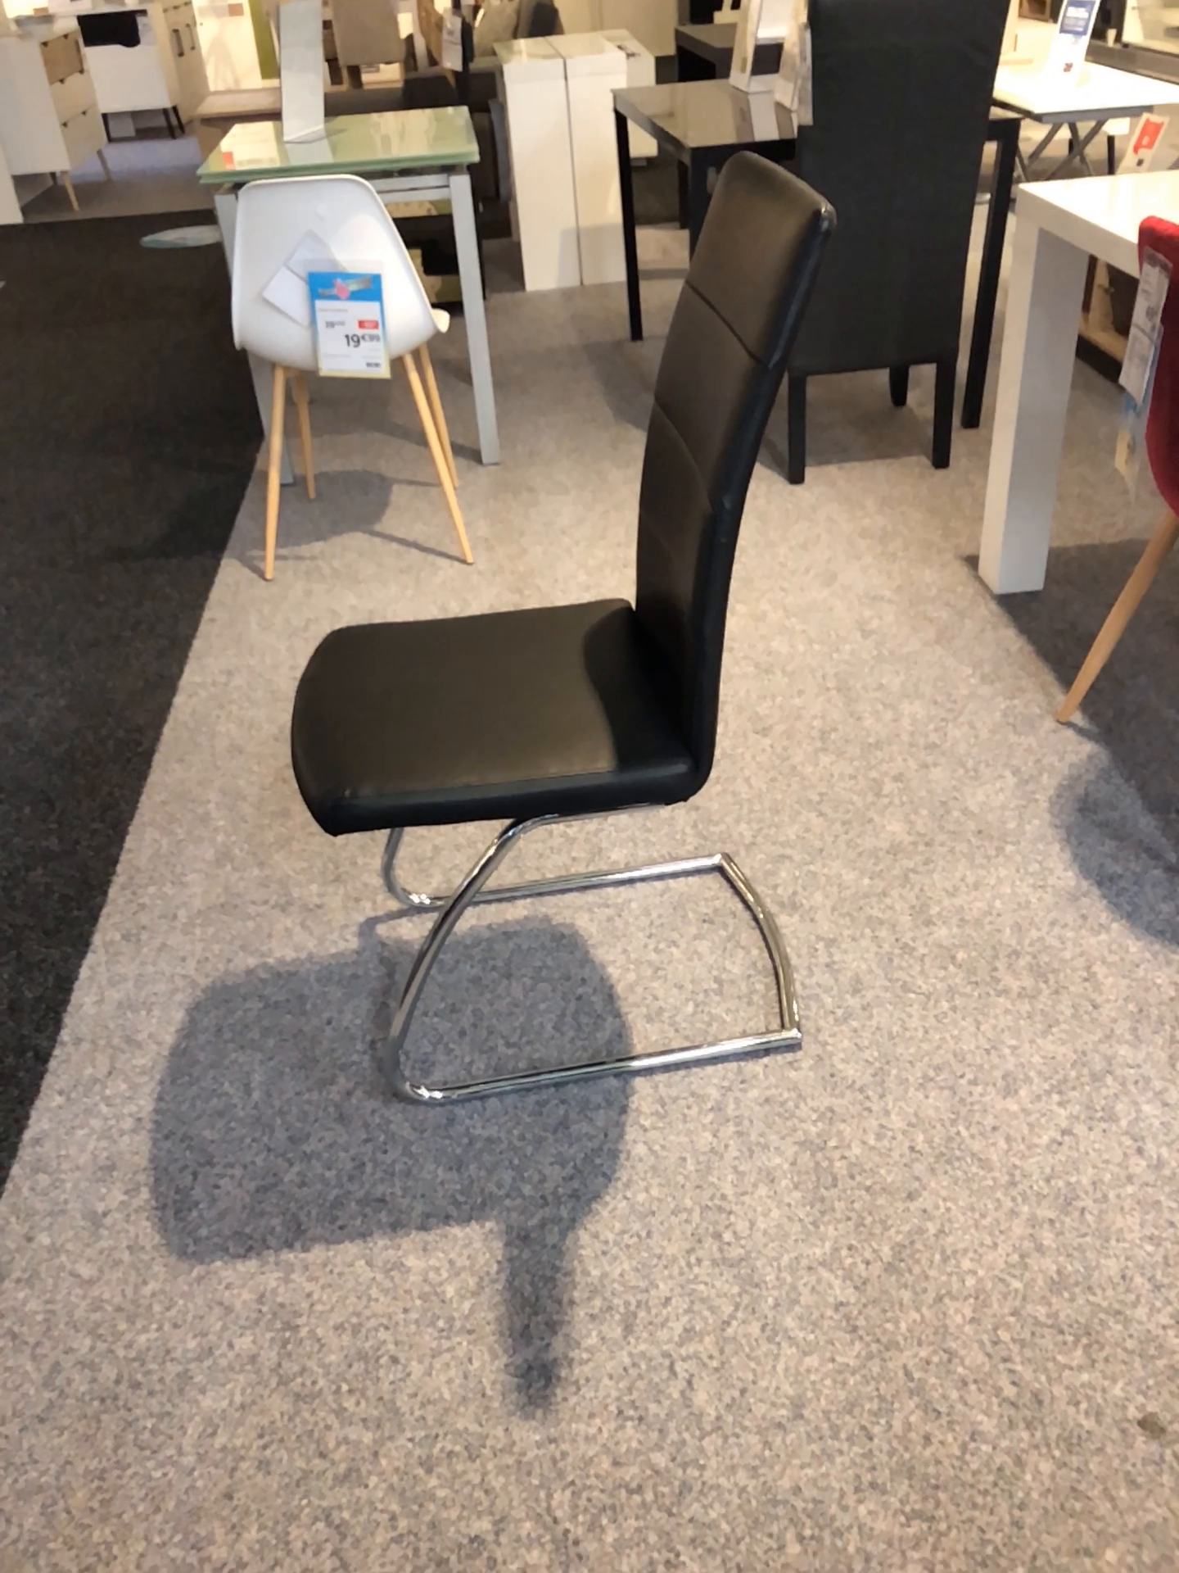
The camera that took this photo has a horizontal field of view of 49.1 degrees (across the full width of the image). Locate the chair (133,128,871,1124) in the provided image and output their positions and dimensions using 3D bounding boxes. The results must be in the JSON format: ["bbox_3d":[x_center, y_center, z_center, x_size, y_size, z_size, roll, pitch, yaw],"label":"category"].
[{"bbox_3d":[-0.062,-0.169,1.427,0.560,0.905,0.493,-8,33,-4],"label":"chair"}]
